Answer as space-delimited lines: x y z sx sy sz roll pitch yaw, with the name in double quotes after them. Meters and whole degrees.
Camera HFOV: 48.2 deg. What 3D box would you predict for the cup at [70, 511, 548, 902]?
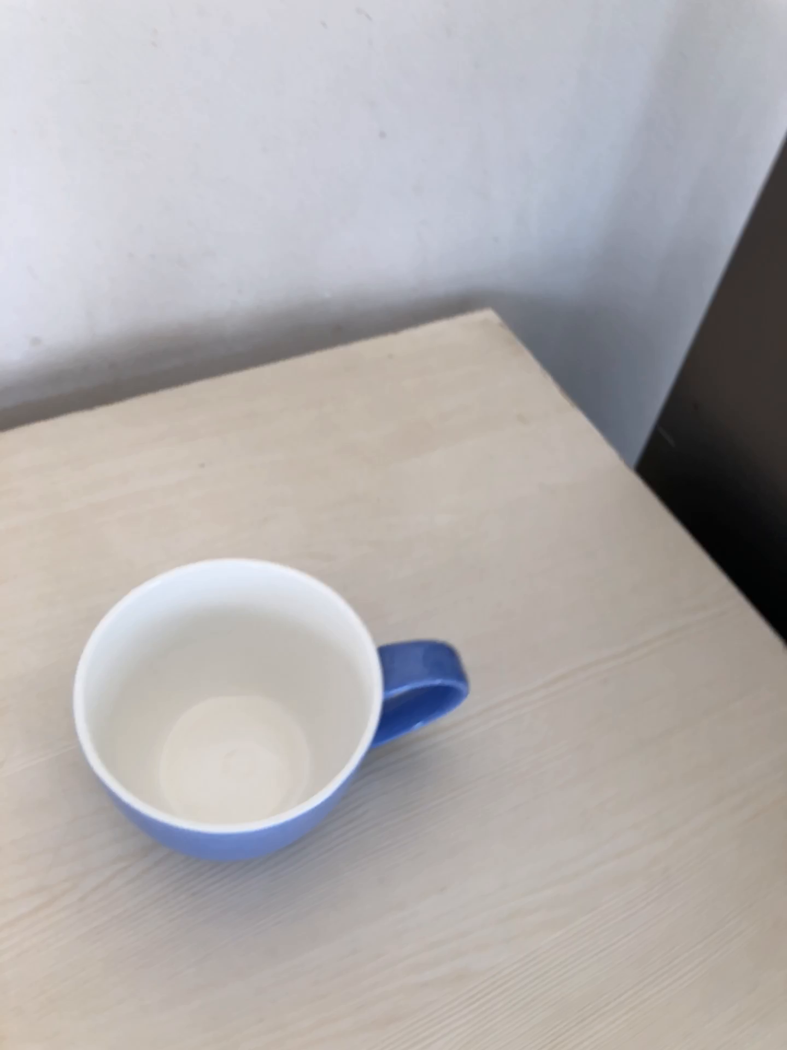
-0.036 0.064 0.333 0.150 0.070 0.100 -7 52 -14 "cup"
